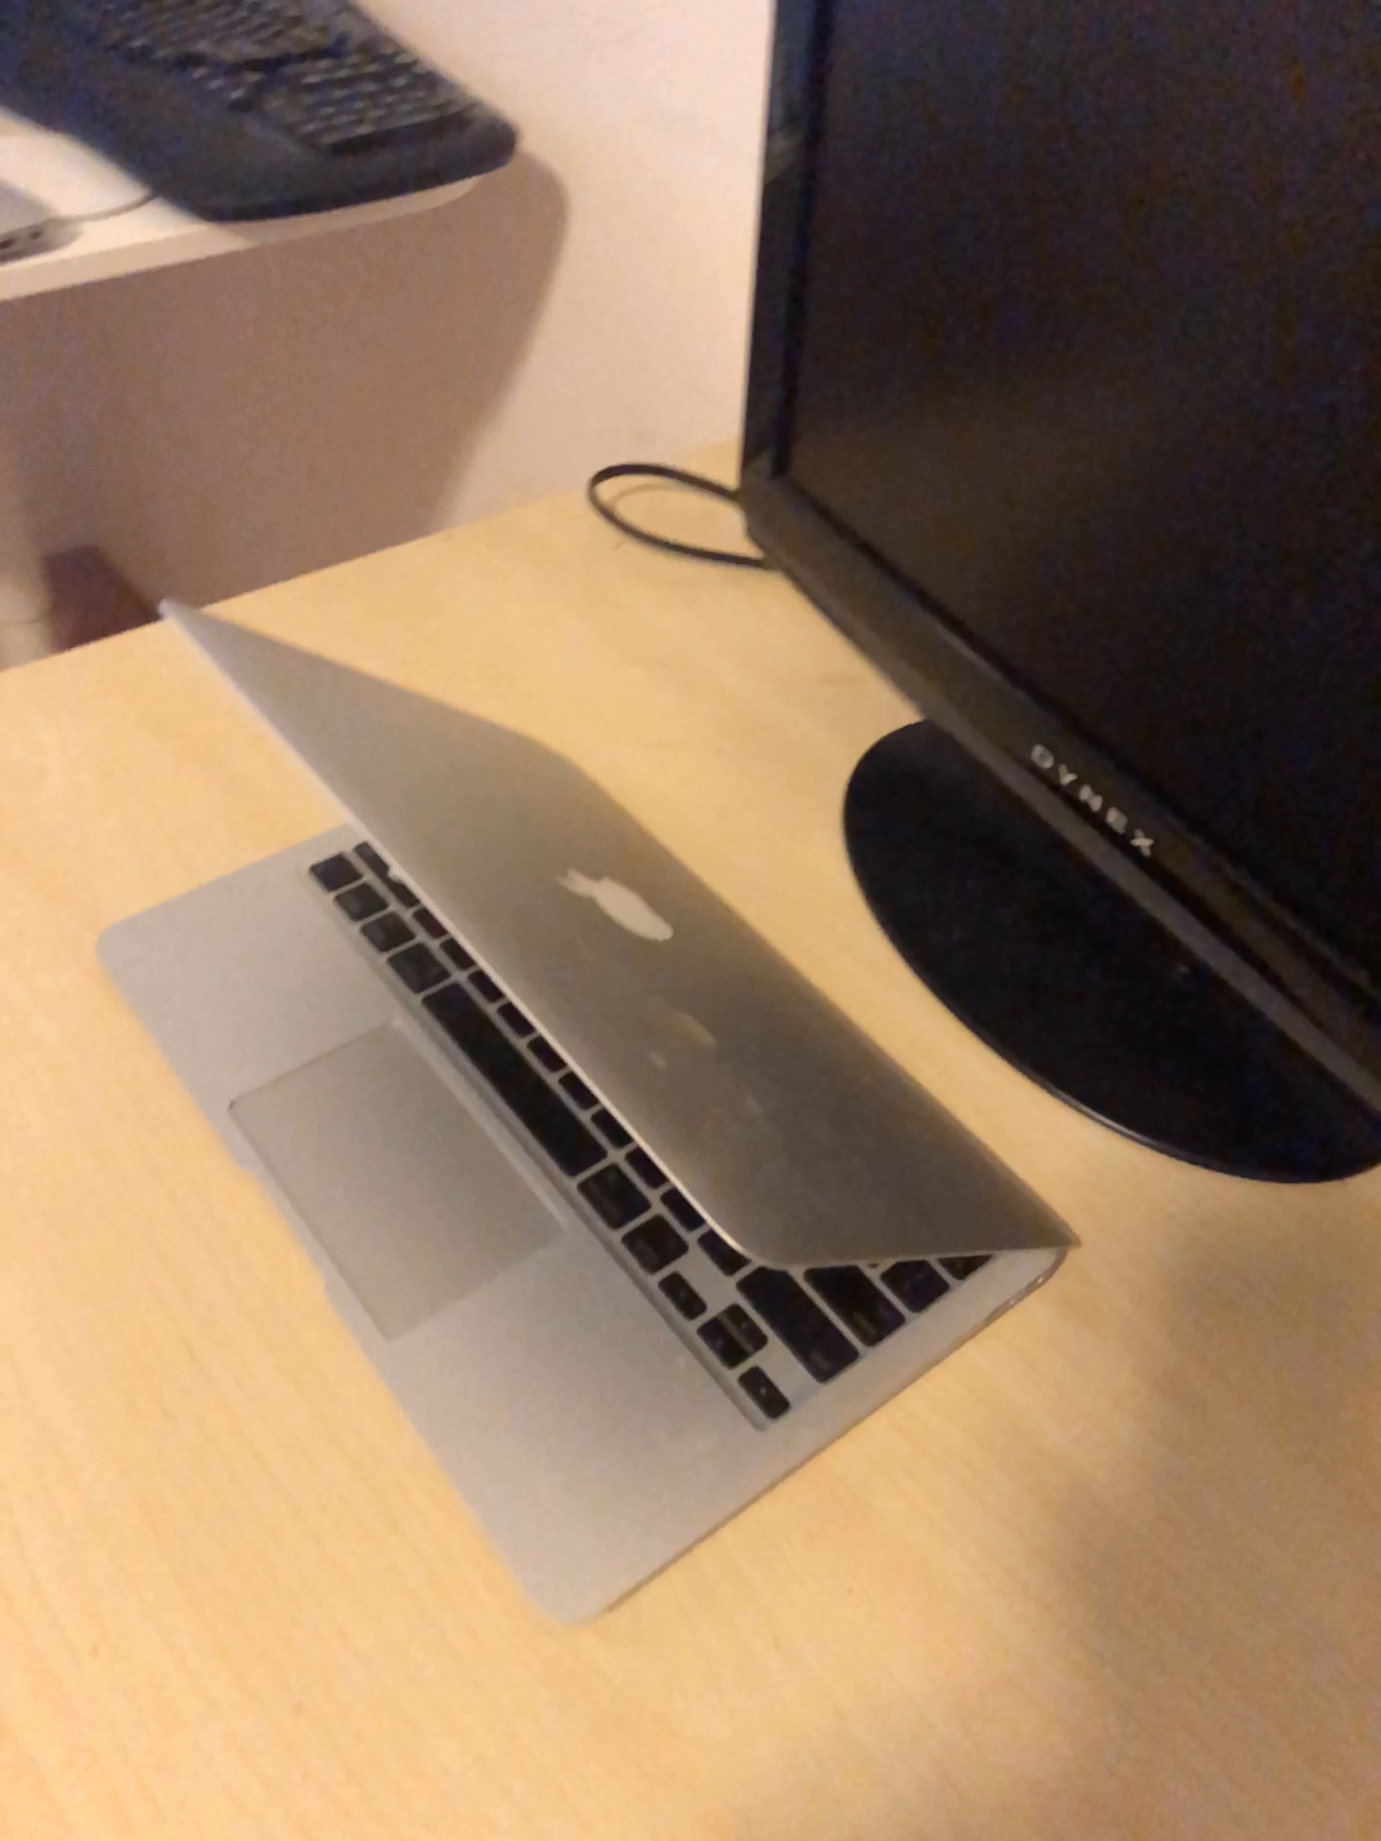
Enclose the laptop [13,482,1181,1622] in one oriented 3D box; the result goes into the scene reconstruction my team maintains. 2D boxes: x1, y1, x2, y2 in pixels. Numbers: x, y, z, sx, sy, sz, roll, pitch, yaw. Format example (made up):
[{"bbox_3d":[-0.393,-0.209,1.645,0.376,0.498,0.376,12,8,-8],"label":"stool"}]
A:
[{"bbox_3d":[-0.041,0.010,0.458,0.189,0.127,0.288,-26,52,-28],"label":"laptop"}]
